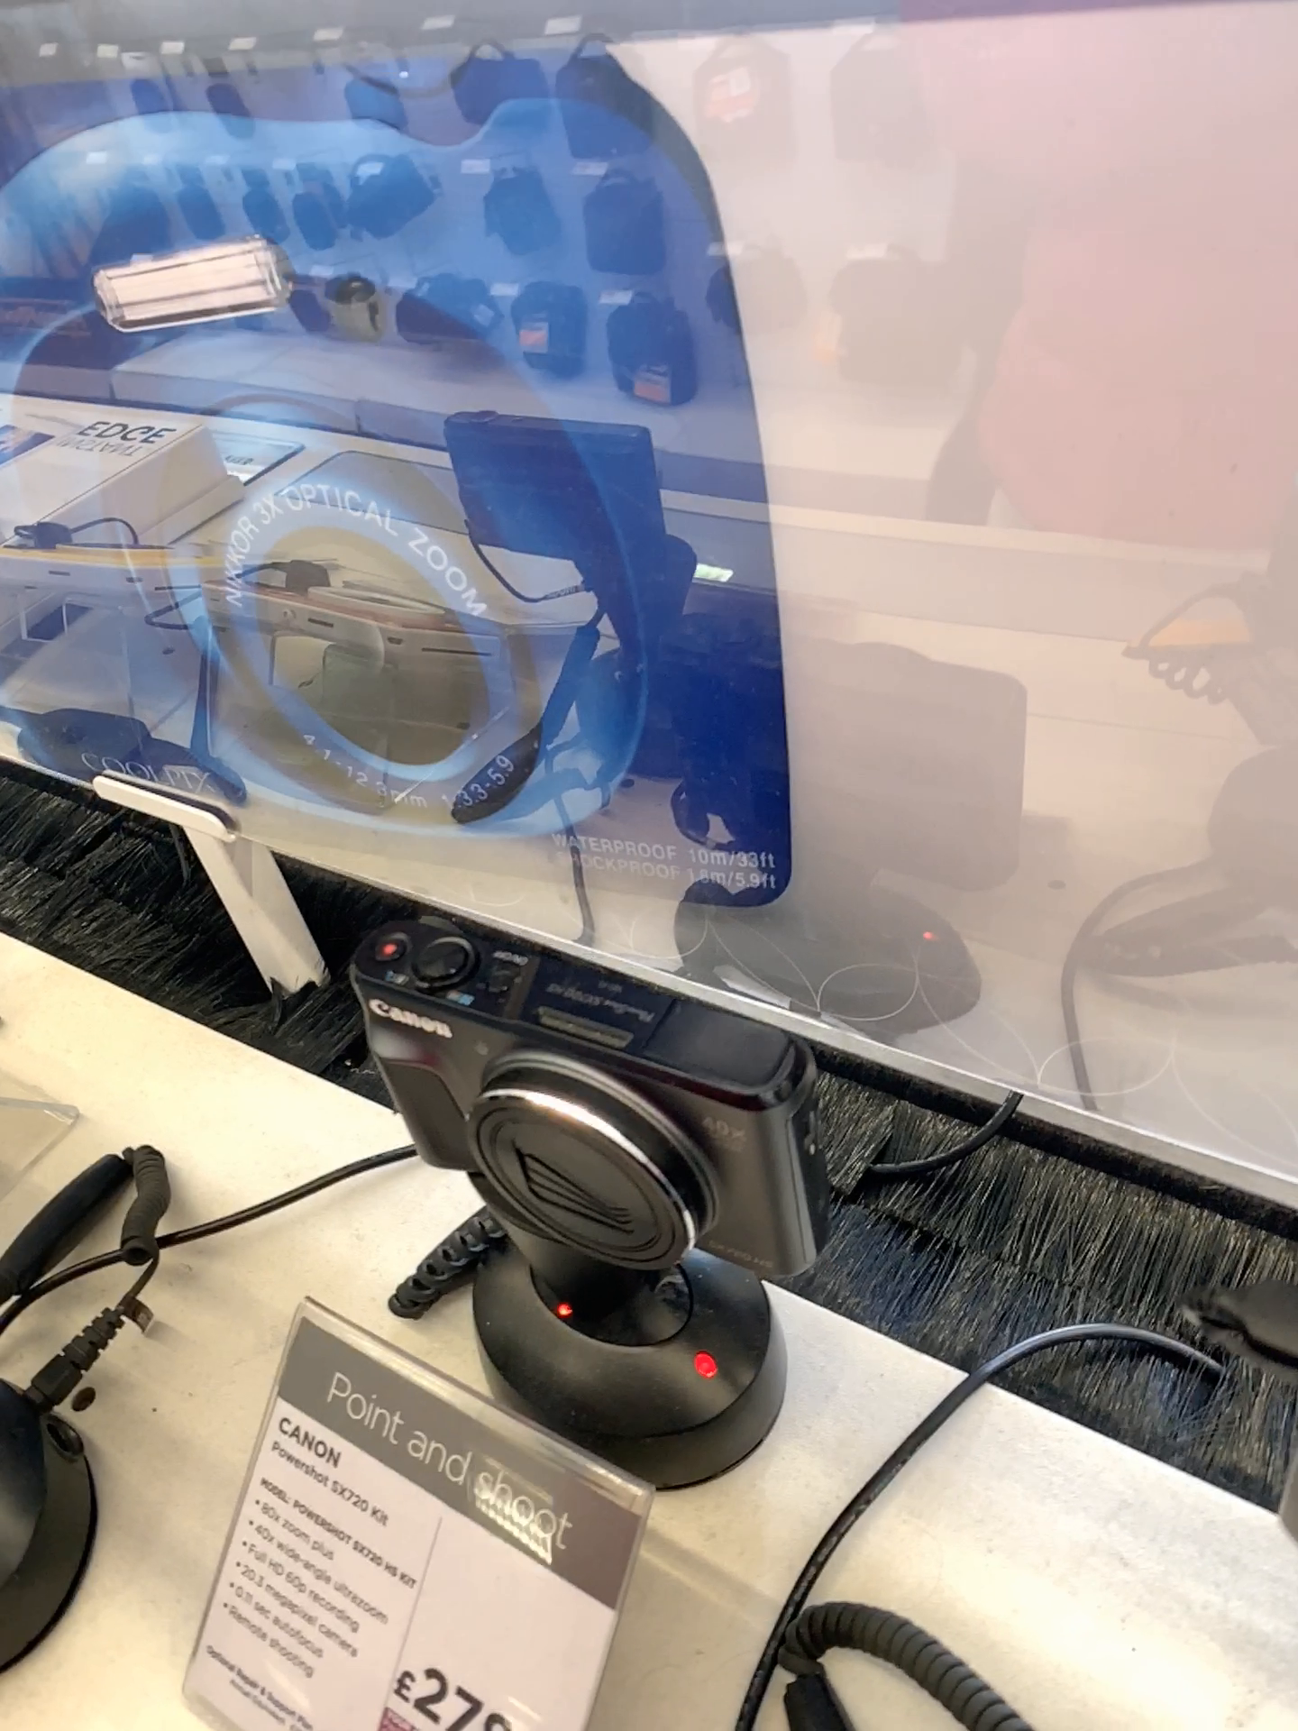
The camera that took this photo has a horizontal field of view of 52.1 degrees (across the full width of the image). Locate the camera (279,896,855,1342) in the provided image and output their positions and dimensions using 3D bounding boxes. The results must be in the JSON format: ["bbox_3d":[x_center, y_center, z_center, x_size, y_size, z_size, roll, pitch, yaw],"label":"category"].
[{"bbox_3d":[-0.017,0.051,0.282,0.113,0.061,0.031,14,47,28],"label":"camera"}]
